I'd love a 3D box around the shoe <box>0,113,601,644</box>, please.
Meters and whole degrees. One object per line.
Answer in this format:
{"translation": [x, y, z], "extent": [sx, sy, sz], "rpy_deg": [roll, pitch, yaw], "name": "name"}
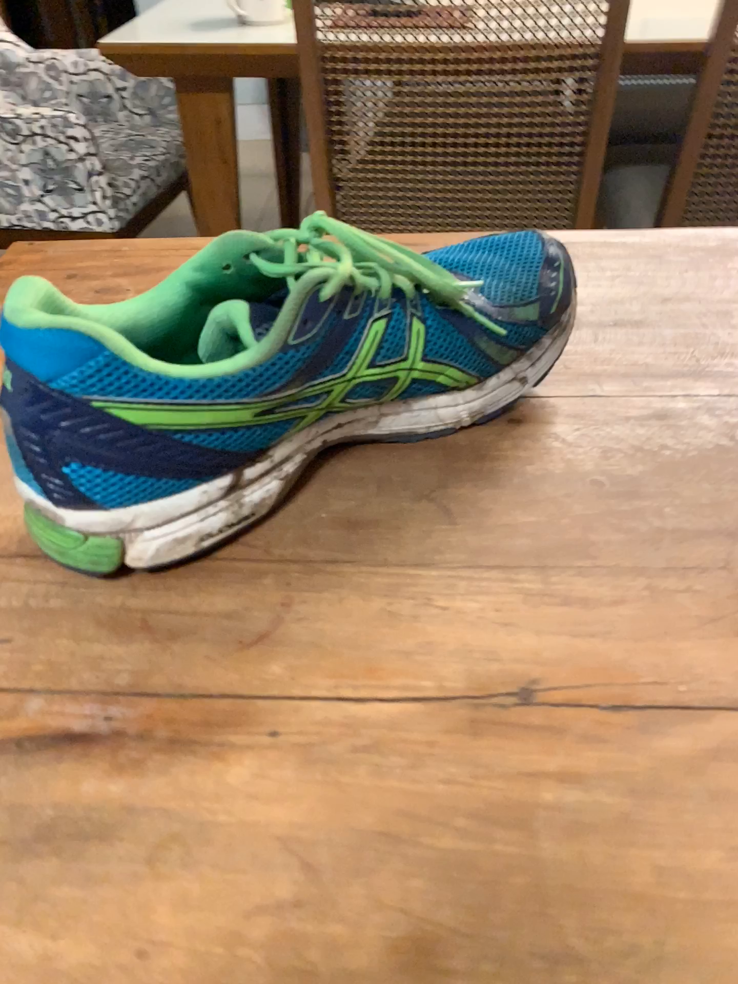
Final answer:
{"translation": [-0.042, -0.075, 0.363], "extent": [0.300, 0.119, 0.110], "rpy_deg": [-28, 47, -25], "name": "shoe"}
